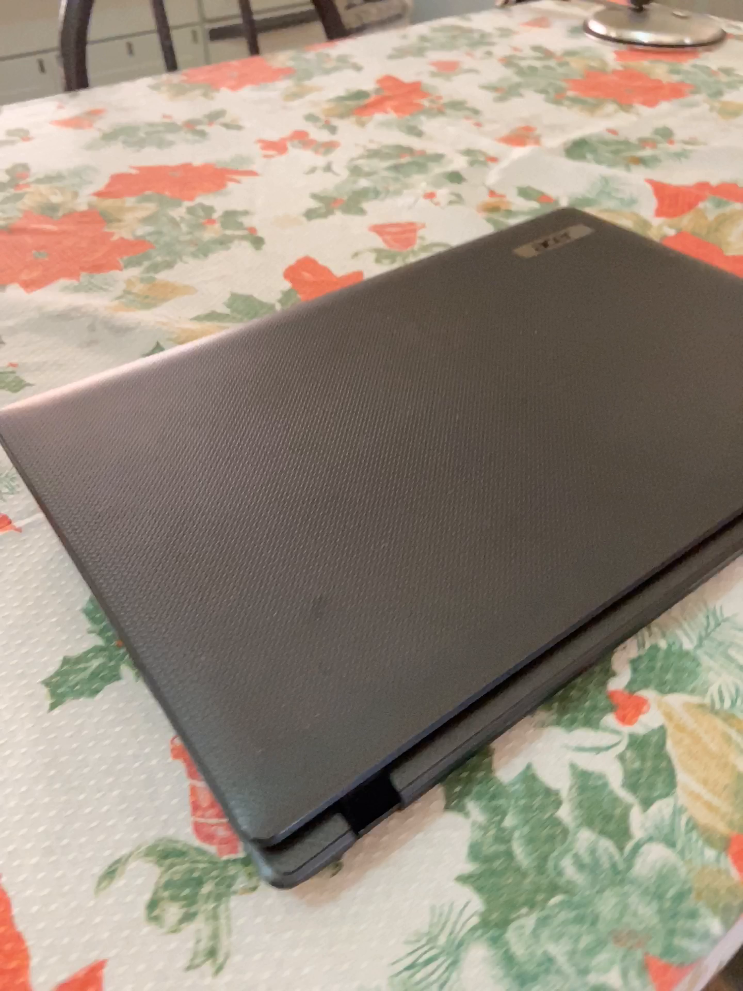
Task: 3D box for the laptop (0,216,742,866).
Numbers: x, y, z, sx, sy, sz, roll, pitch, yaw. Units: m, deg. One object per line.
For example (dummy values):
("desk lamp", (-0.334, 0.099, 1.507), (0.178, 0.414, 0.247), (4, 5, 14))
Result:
("laptop", (0.031, -0.041, 0.330), (0.351, 0.001, 0.223), (-26, 49, -26))
